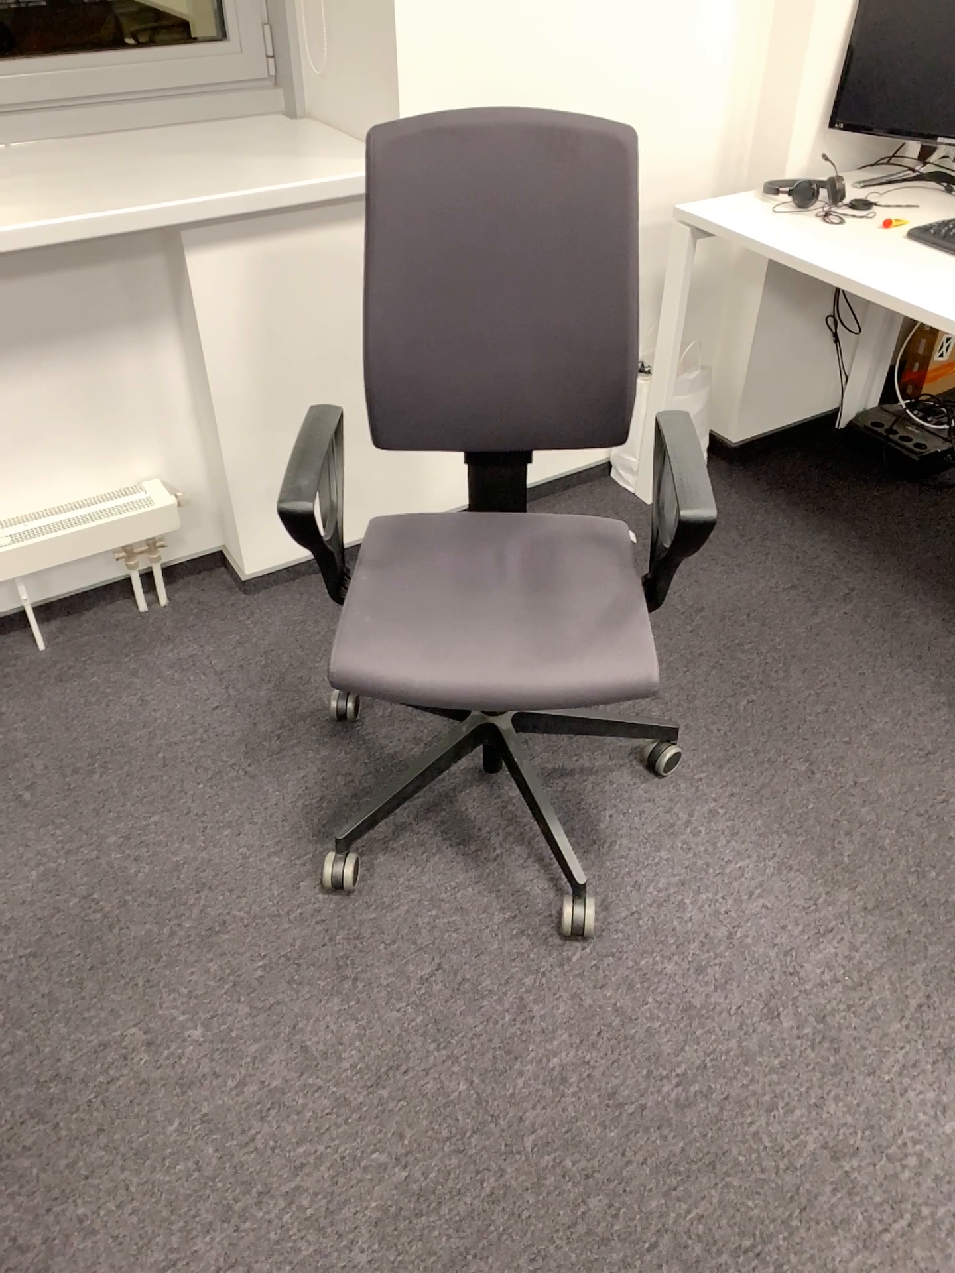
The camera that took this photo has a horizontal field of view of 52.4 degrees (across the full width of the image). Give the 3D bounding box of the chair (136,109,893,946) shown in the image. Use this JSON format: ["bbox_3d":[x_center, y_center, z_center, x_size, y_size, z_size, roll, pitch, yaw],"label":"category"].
[{"bbox_3d":[0.041,-0.158,1.520,0.700,1.044,0.754,1,39,1],"label":"chair"}]
